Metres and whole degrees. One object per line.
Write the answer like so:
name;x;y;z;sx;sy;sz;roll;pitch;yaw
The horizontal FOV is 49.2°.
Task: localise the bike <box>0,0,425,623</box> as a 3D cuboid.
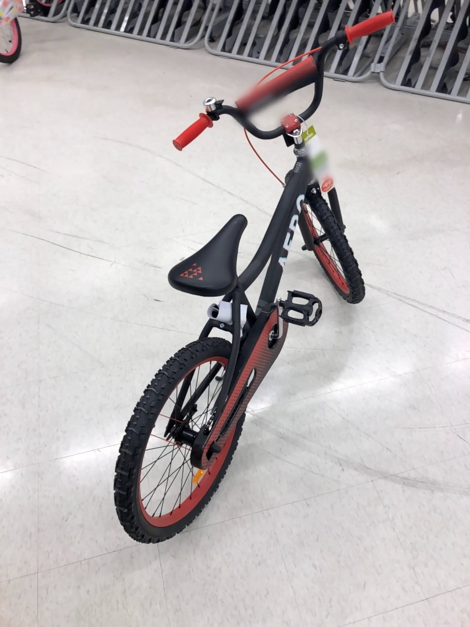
bike;-0.015;-0.147;1.298;0.625;0.925;1.252;14;49;15
